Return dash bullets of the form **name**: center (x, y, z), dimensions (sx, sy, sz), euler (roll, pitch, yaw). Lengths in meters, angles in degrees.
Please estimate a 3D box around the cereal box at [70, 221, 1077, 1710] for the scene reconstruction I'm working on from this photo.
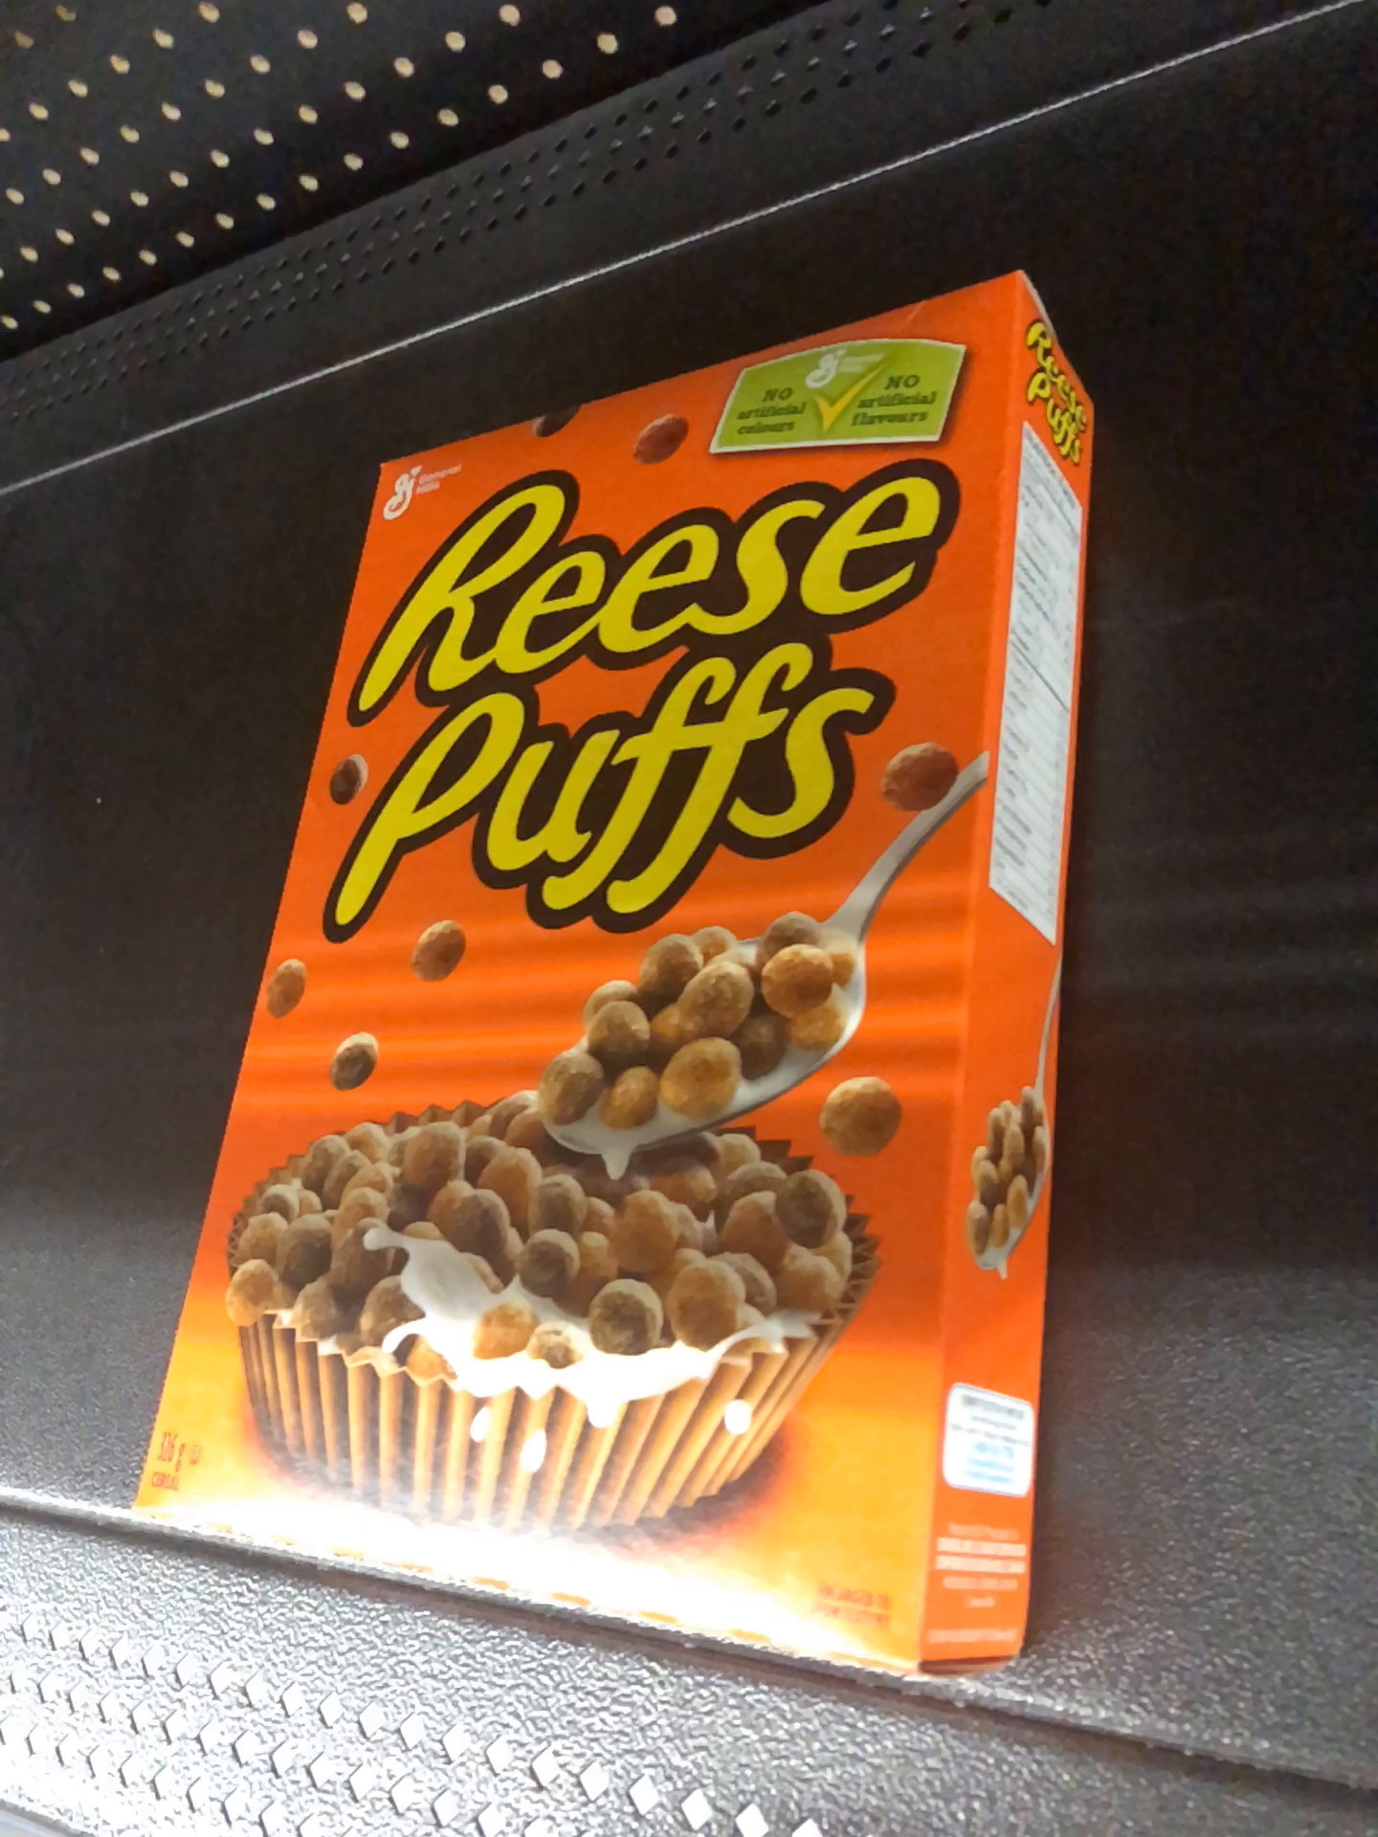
- **cereal box**: center (-0.023, 0.000, 0.353), dimensions (0.201, 0.050, 0.291), euler (-5, 67, 33)
